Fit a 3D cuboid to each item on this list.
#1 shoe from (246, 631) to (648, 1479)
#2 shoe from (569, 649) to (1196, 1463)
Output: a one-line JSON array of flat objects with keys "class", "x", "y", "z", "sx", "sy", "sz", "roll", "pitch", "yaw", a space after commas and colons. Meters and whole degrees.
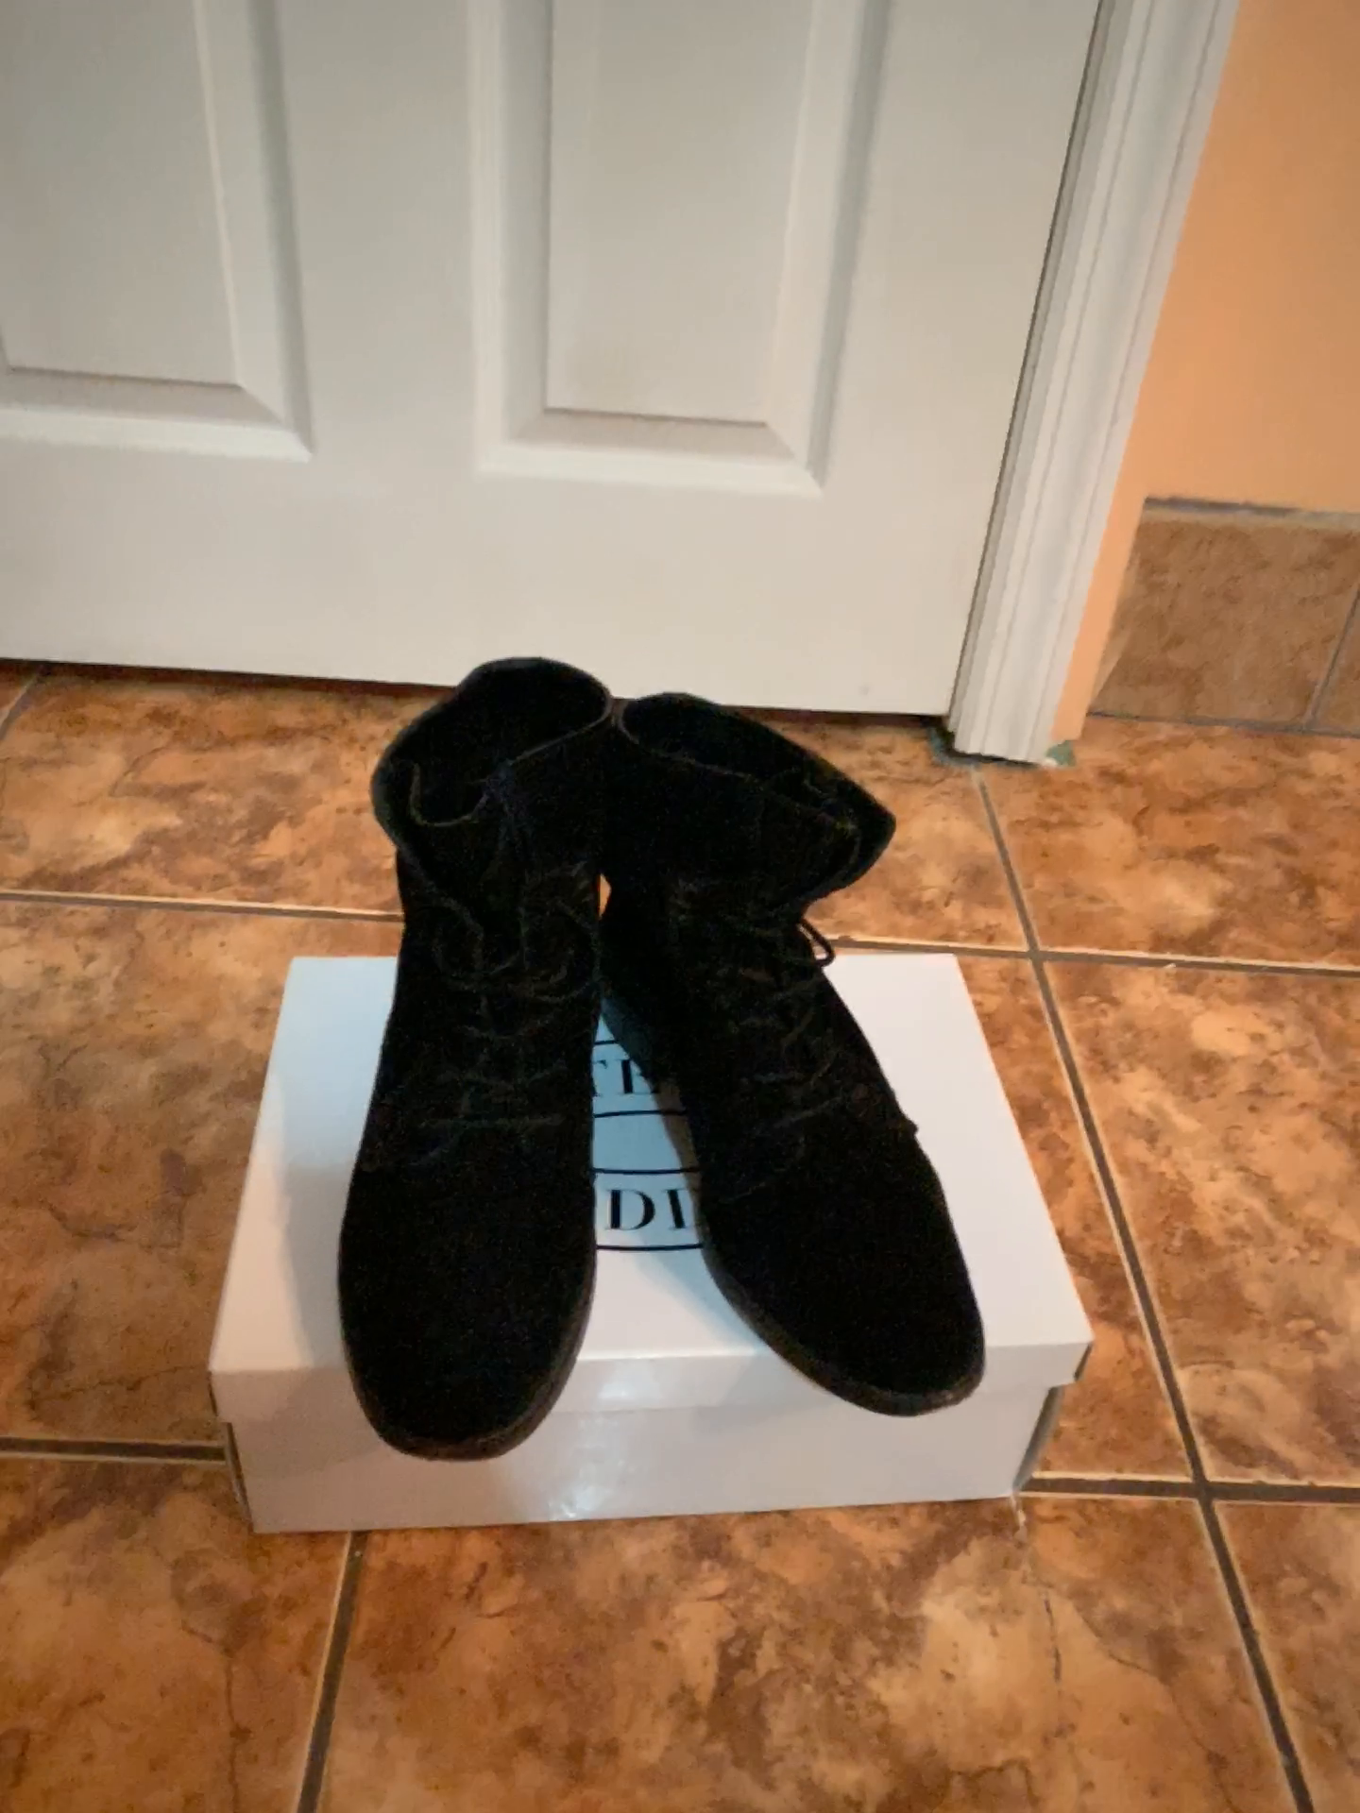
[{"class": "shoe", "x": -0.063, "y": 0.034, "z": 0.477, "sx": 0.094, "sy": 0.152, "sz": 0.259, "roll": 3, "pitch": 36, "yaw": -3}, {"class": "shoe", "x": 0.046, "y": 0.033, "z": 0.509, "sx": 0.107, "sy": 0.142, "sz": 0.268, "roll": -7, "pitch": 38, "yaw": -17}]
